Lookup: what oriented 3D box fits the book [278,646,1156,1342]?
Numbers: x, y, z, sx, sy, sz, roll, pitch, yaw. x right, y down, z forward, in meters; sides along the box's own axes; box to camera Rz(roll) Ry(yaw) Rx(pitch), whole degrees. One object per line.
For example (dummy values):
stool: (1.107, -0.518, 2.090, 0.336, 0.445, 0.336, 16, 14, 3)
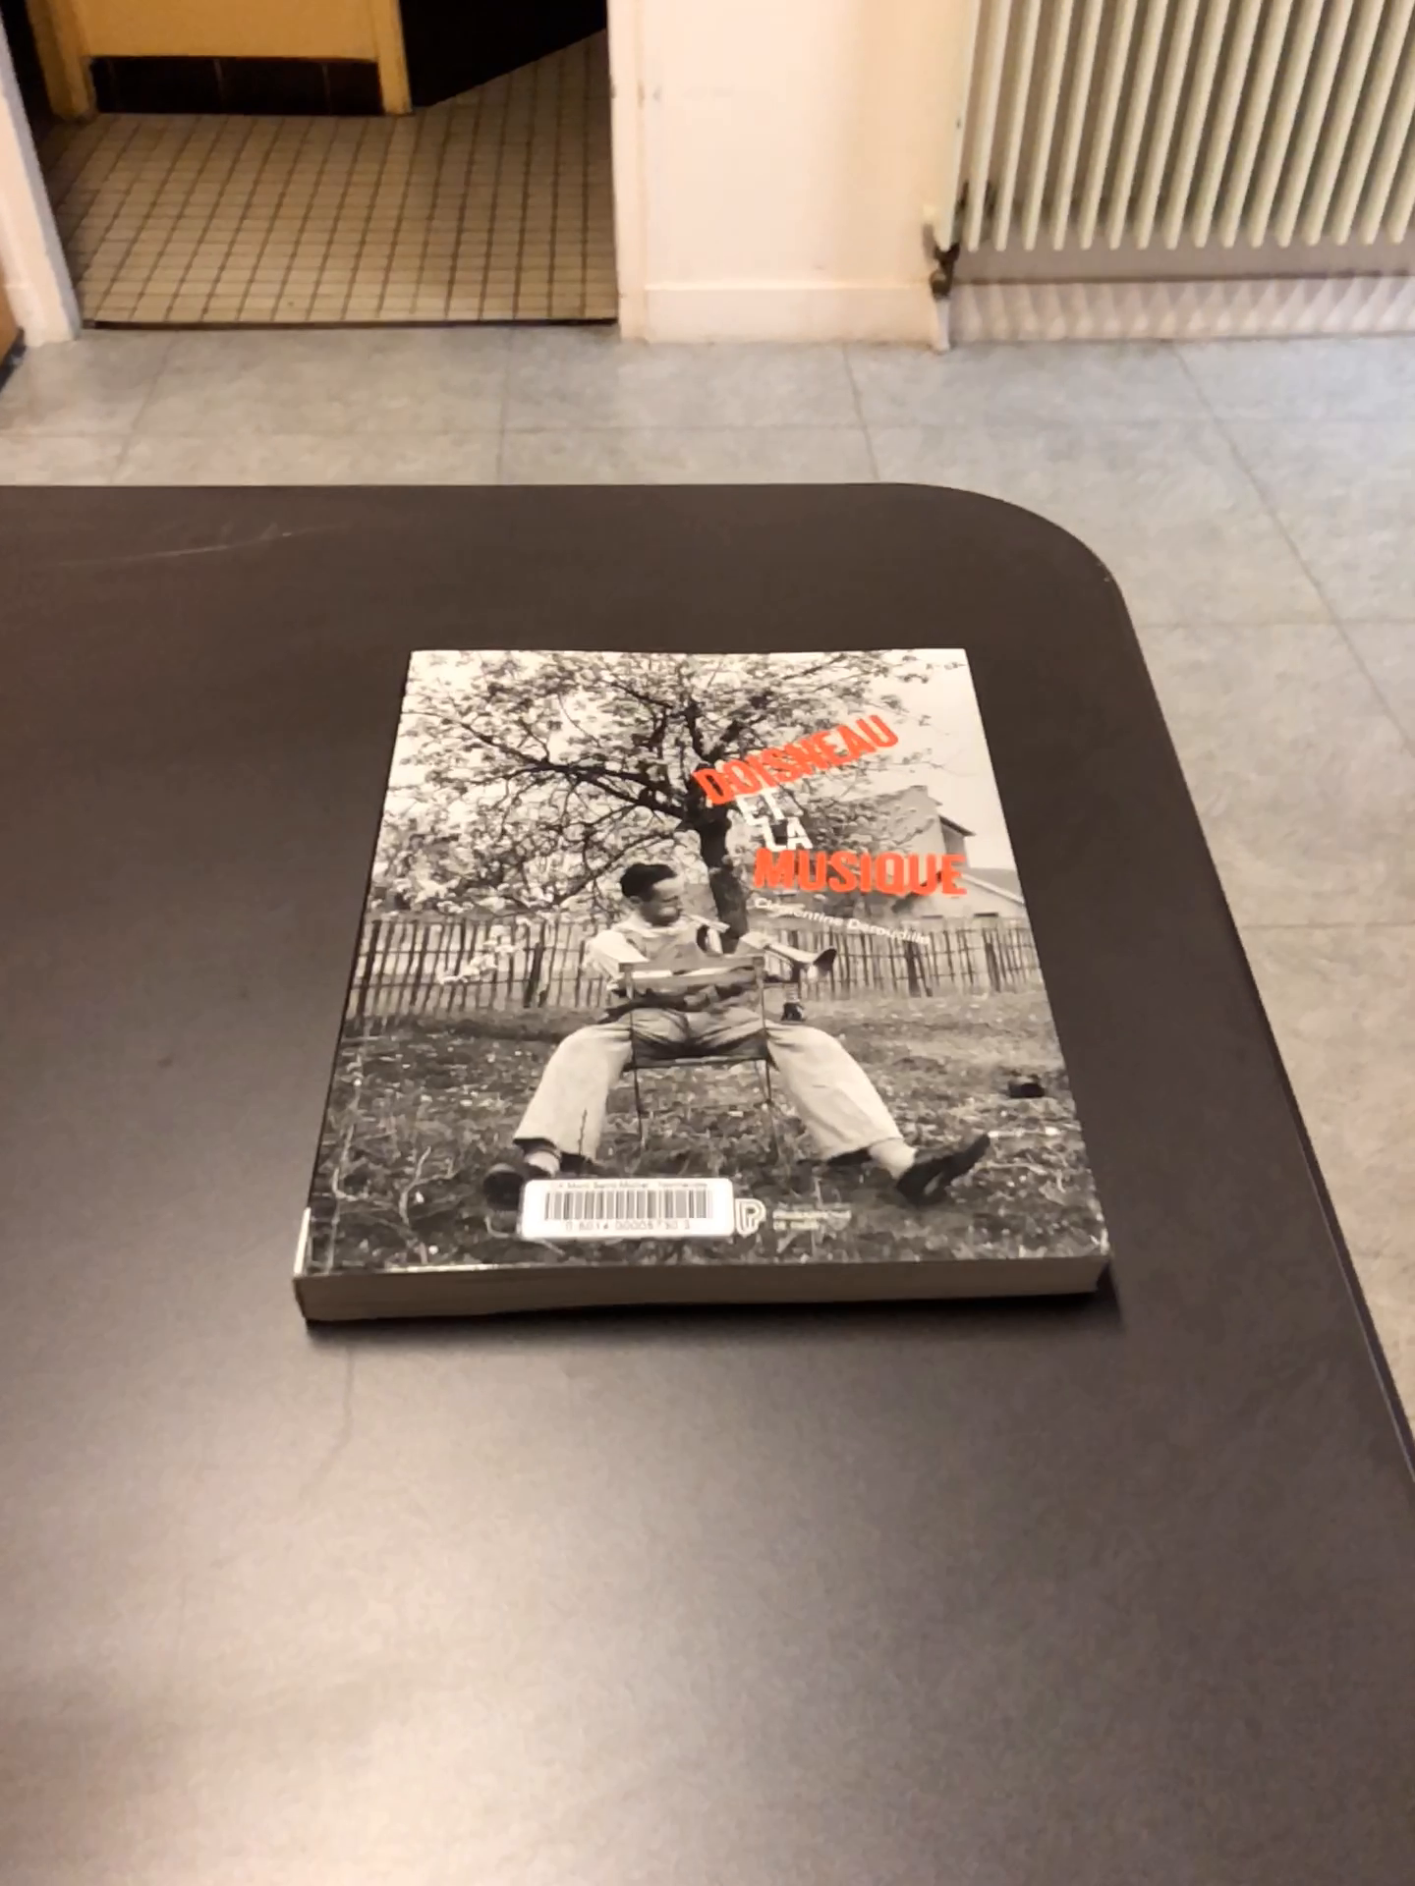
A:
book: (0.000, -0.004, 0.446, 0.194, 0.030, 0.251, 0, 43, -2)
